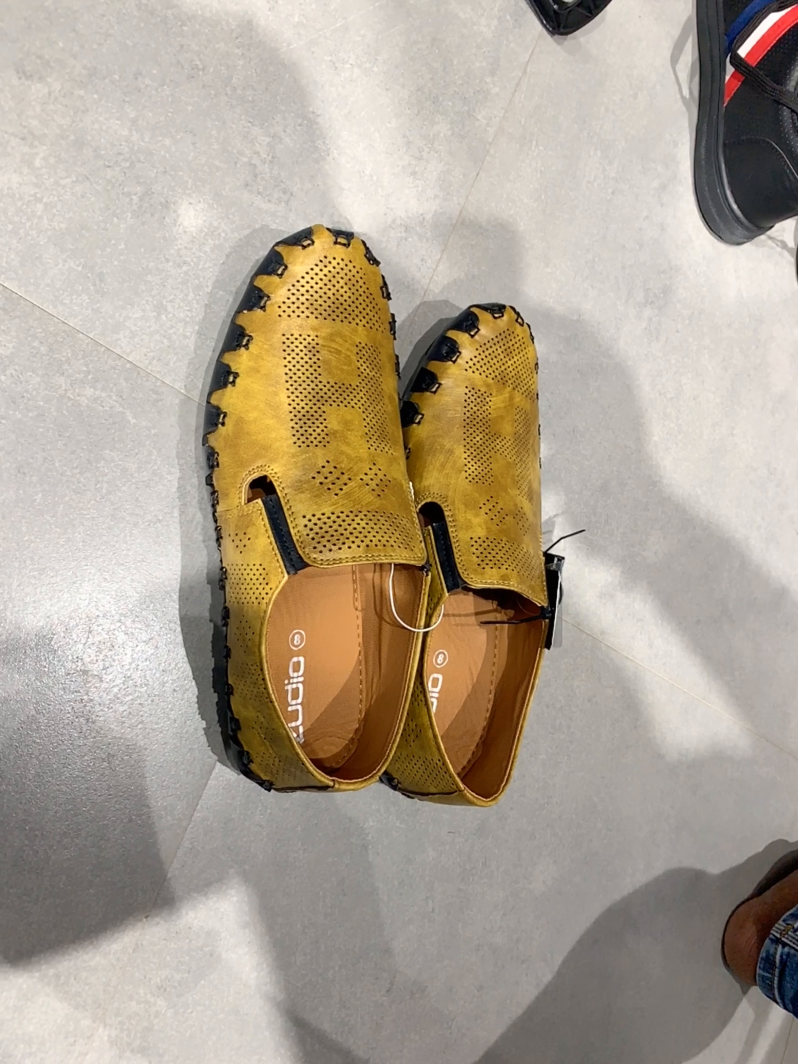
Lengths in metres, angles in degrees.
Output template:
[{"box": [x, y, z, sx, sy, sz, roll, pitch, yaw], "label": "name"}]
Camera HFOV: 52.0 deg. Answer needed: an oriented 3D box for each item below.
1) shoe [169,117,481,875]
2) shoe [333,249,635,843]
[{"box": [-0.042, -0.014, 0.422, 0.100, 0.120, 0.320, 3, 89, -33], "label": "shoe"}, {"box": [0.049, 0.011, 0.460, 0.110, 0.080, 0.290, 9, 86, -33], "label": "shoe"}]
